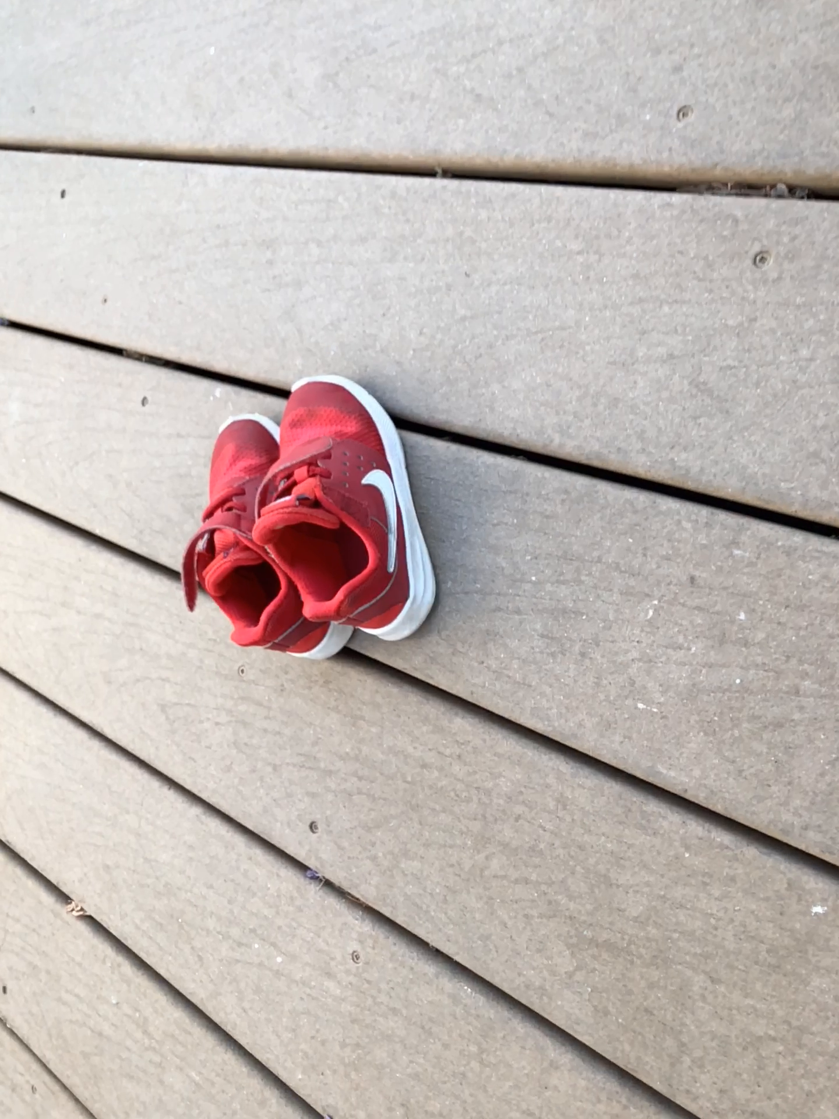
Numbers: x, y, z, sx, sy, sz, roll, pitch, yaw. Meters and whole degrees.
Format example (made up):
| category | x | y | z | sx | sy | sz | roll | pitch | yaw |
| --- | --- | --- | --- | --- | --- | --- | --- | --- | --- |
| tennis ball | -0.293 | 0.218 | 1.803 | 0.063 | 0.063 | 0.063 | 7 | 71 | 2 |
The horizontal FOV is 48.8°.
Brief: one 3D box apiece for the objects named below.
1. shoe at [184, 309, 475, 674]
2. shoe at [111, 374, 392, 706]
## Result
| category | x | y | z | sx | sy | sz | roll | pitch | yaw |
| --- | --- | --- | --- | --- | --- | --- | --- | --- | --- |
| shoe | -0.049 | -0.033 | 0.503 | 0.077 | 0.087 | 0.167 | -26 | 75 | 32 |
| shoe | -0.101 | -0.011 | 0.548 | 0.077 | 0.087 | 0.167 | -32 | 72 | 30 |
